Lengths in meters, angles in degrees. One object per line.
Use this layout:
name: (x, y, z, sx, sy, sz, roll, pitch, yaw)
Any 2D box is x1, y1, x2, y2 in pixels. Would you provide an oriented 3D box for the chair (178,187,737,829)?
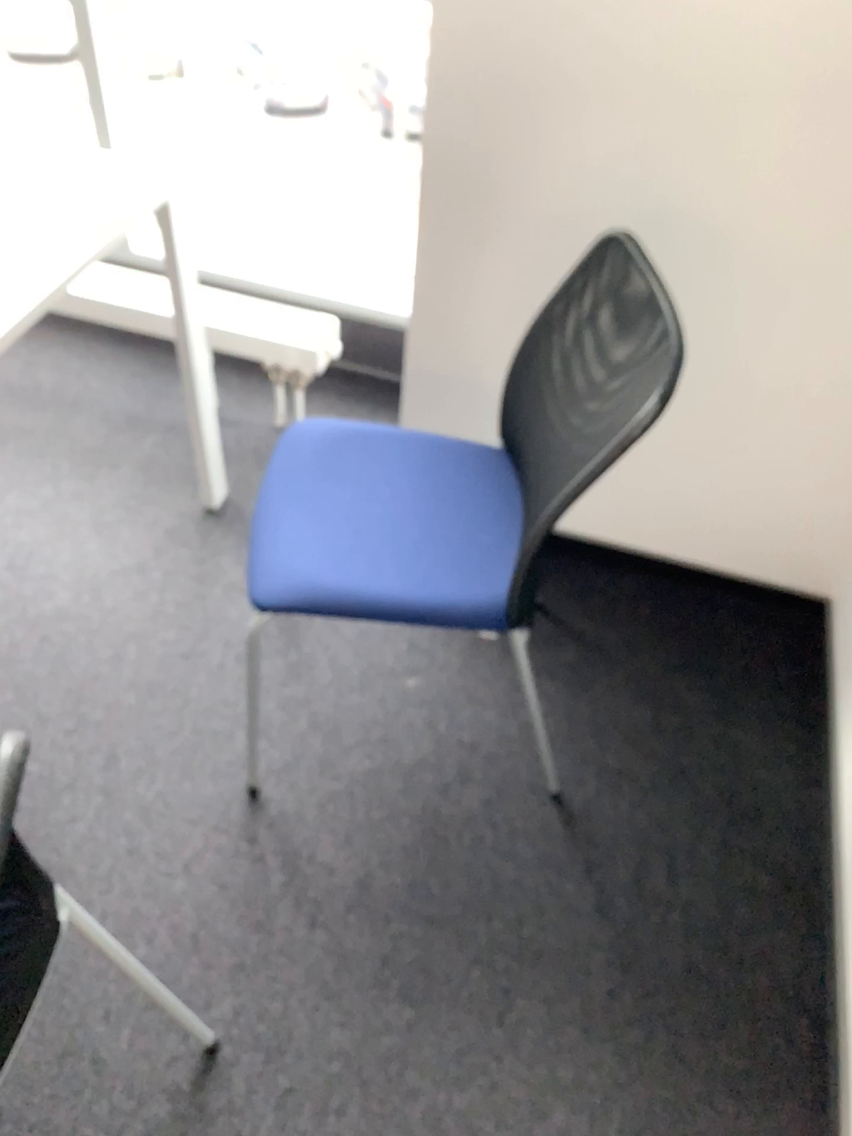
chair: (-0.004, -0.033, 1.444, 0.590, 0.897, 0.532, 2, 48, -5)
